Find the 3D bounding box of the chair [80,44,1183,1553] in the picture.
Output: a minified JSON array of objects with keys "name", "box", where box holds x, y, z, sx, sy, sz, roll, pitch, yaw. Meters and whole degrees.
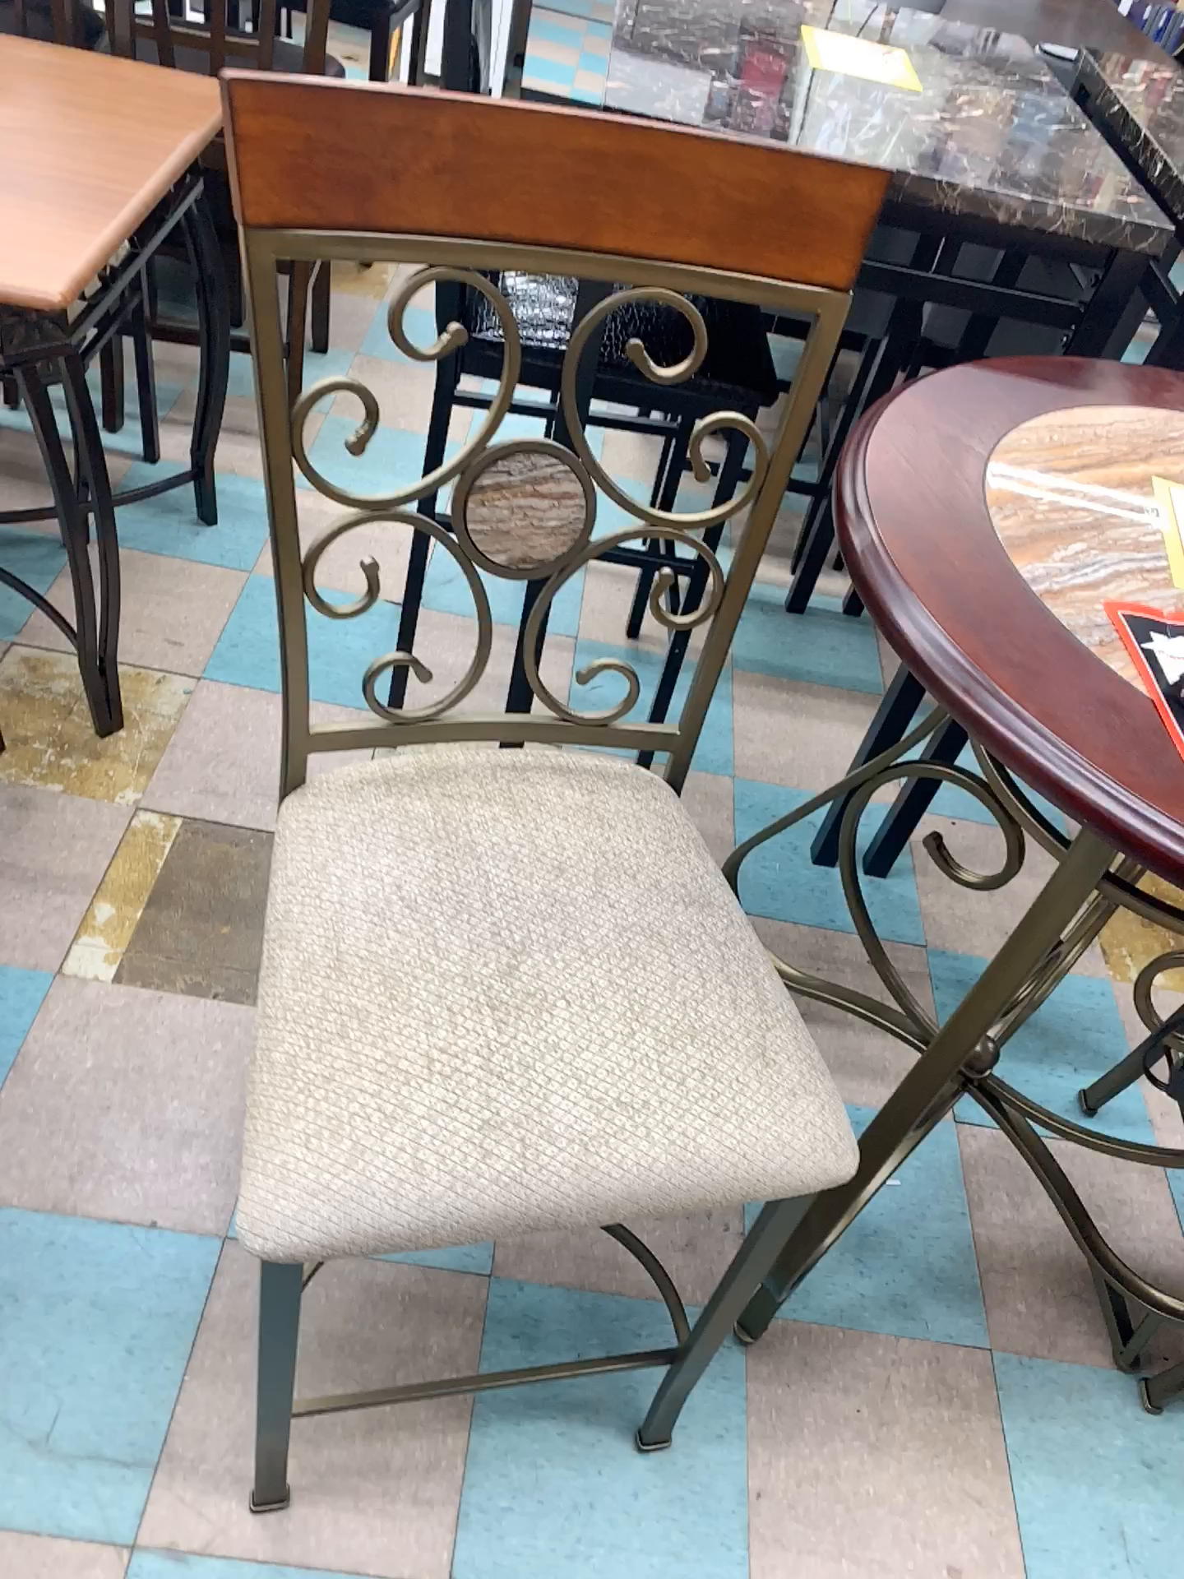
[{"name":"chair","box":[-0.066,0.108,0.997,0.510,1.052,0.611,-1,47,-16]}]
